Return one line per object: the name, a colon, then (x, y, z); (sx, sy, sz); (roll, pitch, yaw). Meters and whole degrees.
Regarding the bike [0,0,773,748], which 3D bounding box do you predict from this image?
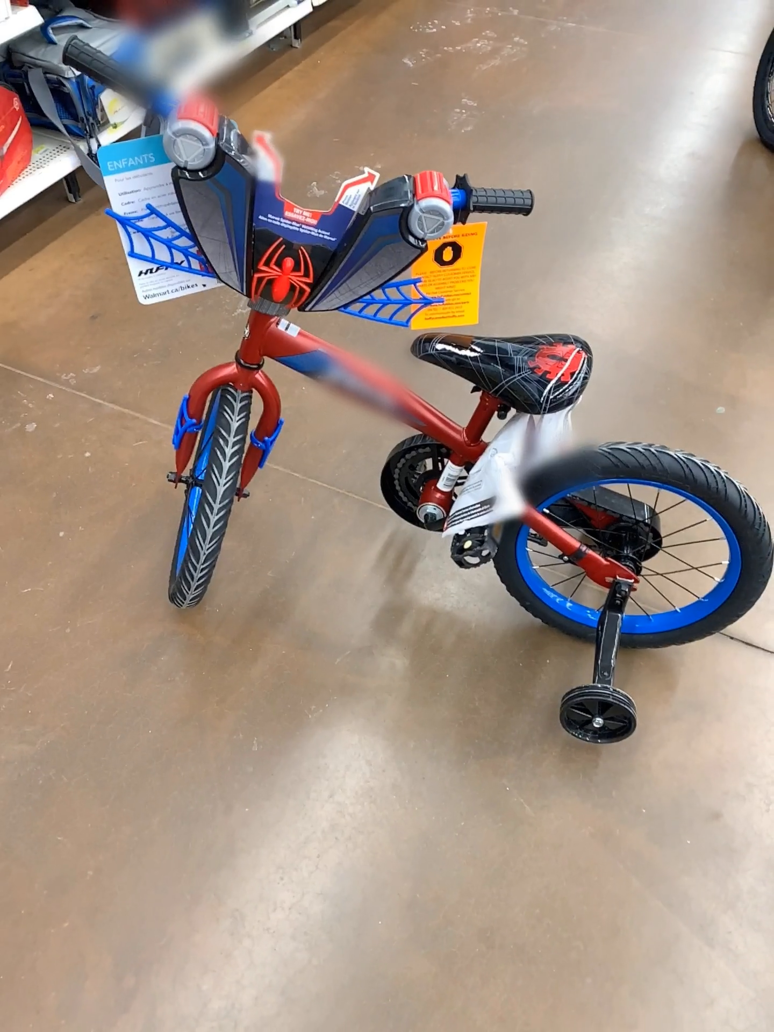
bike: (0.032, -0.121, 0.879); (0.565, 0.709, 0.477); (3, 49, 3)
